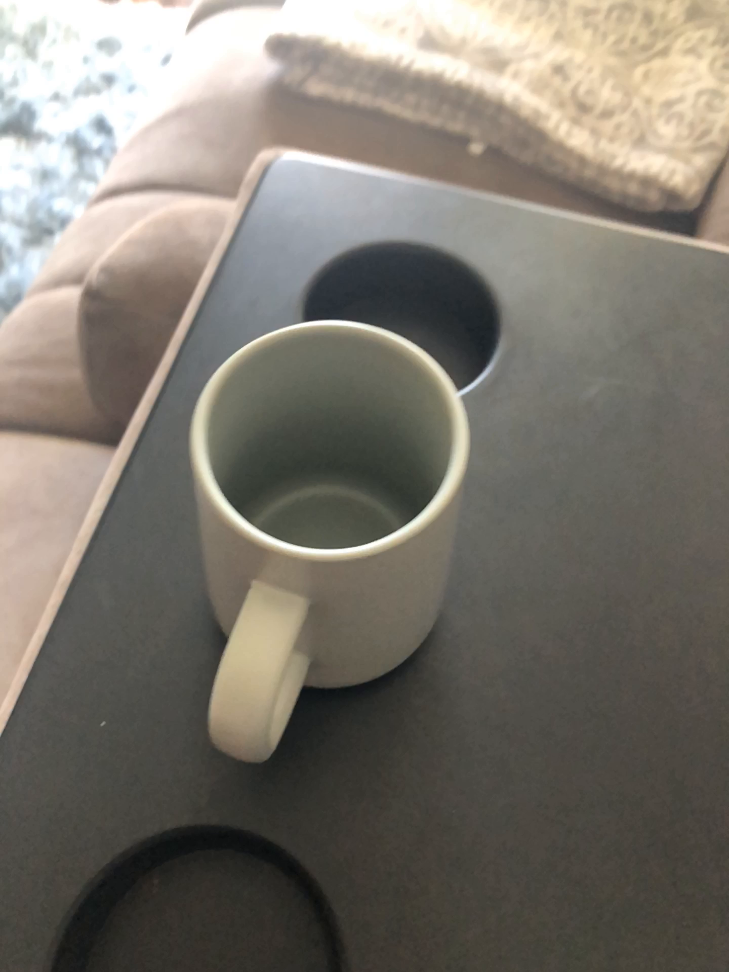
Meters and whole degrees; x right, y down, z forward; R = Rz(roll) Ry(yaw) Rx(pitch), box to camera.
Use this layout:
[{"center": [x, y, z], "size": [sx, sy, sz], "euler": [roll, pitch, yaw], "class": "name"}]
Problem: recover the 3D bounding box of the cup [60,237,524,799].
[{"center": [-0.014, 0.016, 0.284], "size": [0.086, 0.121, 0.137], "euler": [17, 62, 8], "class": "cup"}]
